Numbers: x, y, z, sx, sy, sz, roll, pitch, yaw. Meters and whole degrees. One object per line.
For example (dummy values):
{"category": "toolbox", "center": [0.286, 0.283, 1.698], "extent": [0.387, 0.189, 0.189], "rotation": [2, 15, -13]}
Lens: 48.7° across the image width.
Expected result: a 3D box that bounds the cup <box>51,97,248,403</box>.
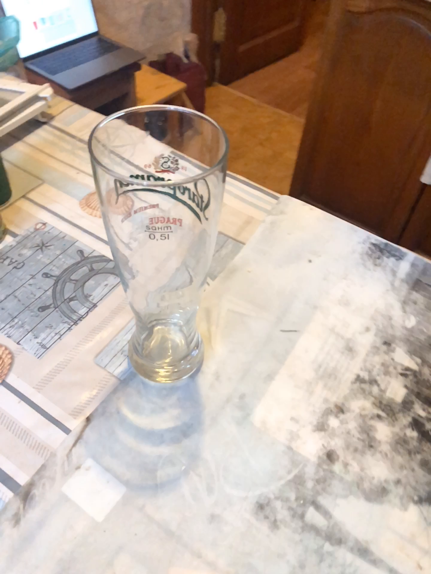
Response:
{"category": "cup", "center": [-0.037, -0.015, 0.340], "extent": [0.088, 0.192, 0.099], "rotation": [9, 49, 4]}
